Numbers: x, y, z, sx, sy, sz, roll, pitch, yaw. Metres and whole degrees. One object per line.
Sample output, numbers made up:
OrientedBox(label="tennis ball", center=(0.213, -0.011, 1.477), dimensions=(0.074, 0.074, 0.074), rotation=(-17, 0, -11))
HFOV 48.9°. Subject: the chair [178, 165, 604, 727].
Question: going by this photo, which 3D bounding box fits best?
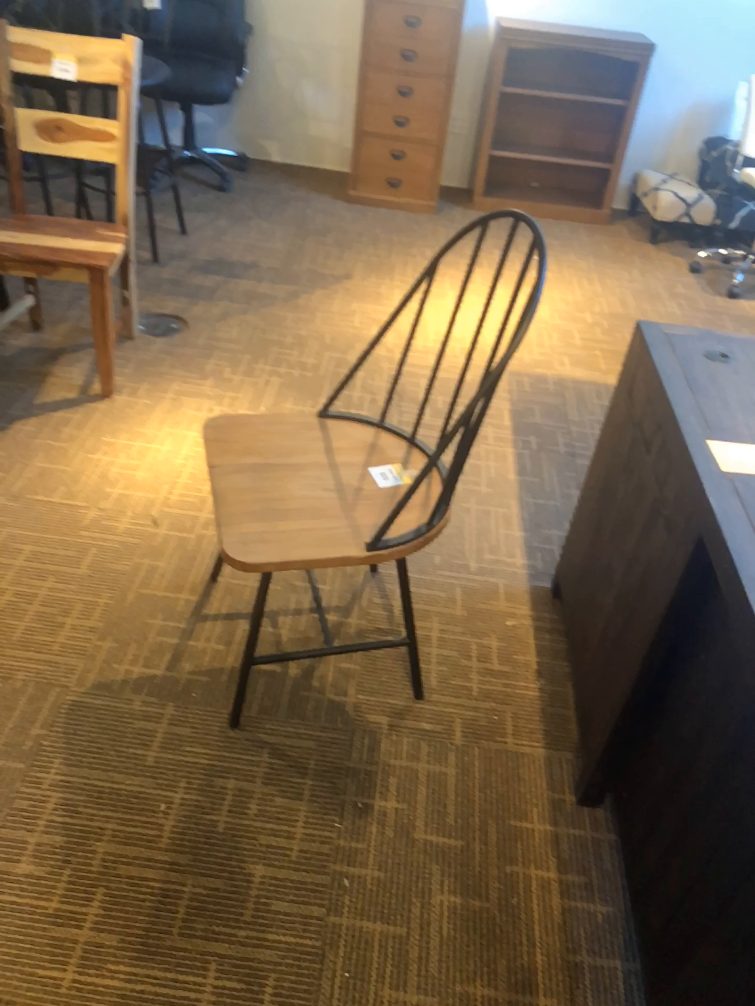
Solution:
OrientedBox(label="chair", center=(-0.058, -0.101, 1.648), dimensions=(0.599, 0.929, 0.516), rotation=(-4, 38, -15))
